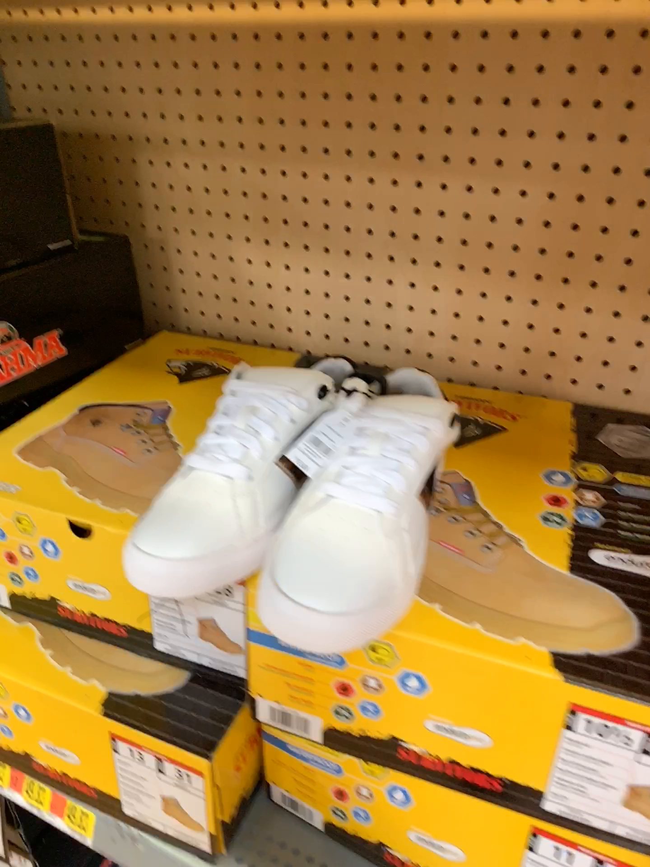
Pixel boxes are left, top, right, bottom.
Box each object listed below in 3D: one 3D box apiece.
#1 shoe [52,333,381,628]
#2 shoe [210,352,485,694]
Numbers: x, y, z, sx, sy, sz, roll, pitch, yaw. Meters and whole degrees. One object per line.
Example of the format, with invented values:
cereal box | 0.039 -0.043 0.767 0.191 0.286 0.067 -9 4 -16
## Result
shoe | -0.057 0.013 0.479 0.100 0.072 0.246 15 35 24
shoe | 0.029 0.035 0.440 0.102 0.070 0.241 14 34 15
